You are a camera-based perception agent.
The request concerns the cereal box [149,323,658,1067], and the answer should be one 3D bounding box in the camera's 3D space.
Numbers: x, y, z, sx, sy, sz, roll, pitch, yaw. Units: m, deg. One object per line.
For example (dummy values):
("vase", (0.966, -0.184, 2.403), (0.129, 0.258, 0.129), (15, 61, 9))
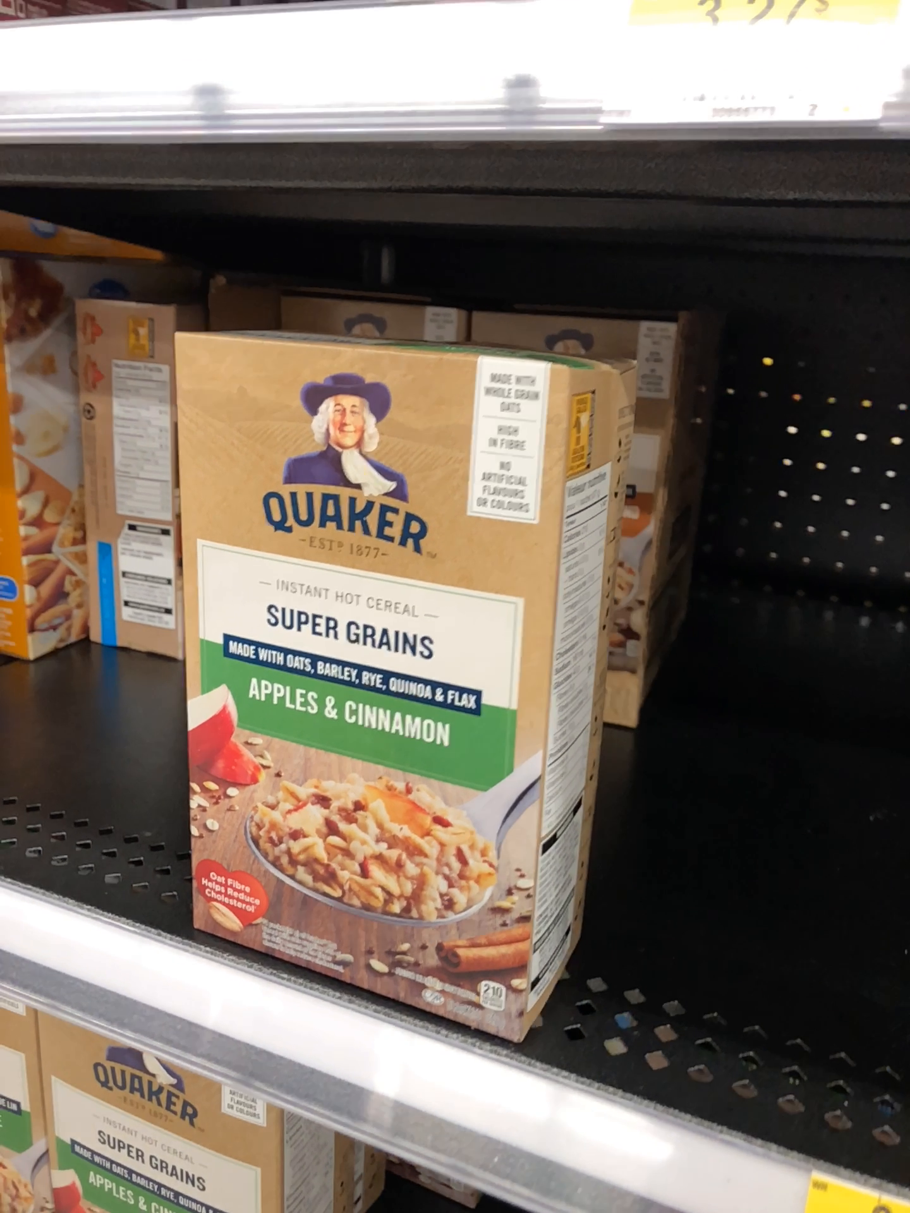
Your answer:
("cereal box", (-0.019, 0.020, 0.314), (0.130, 0.199, 0.060), (10, 19, 22))
